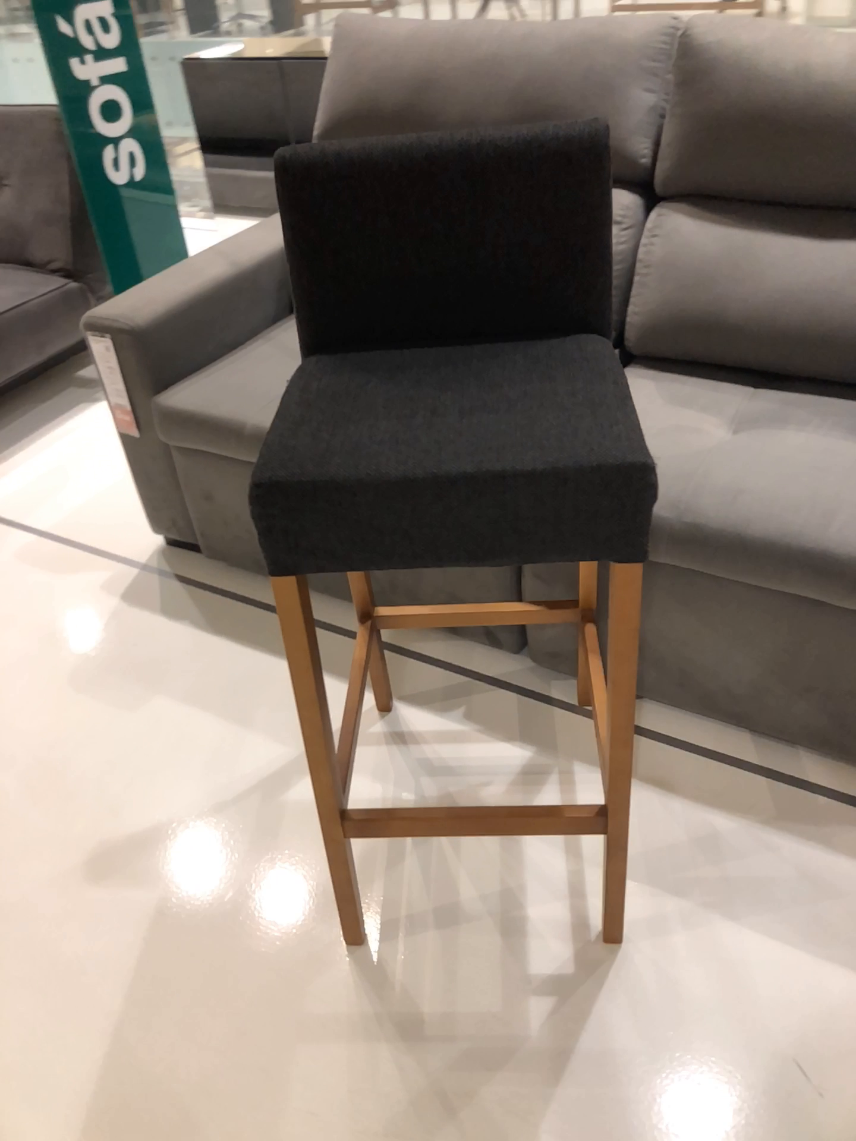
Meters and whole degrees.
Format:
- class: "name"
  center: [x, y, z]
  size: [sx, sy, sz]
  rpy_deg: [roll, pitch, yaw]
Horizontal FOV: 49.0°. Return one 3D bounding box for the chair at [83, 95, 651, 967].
- class: "chair"
  center: [0.002, -0.028, 1.249]
  size: [0.450, 0.972, 0.585]
  rpy_deg: [-3, 34, 5]
